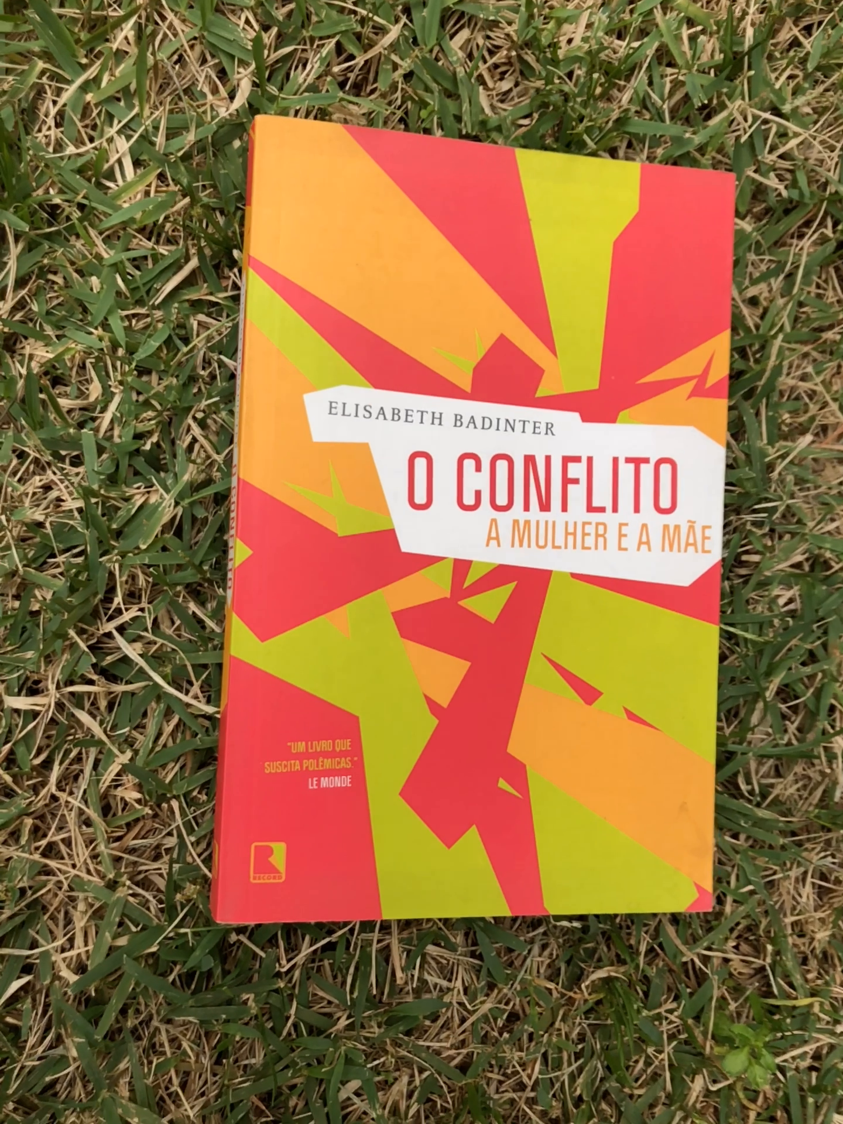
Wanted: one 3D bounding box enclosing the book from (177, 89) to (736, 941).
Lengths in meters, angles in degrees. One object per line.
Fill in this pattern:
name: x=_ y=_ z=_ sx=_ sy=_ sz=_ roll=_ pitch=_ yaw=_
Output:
book: x=0.011 y=-0.009 z=0.240 sx=0.130 sy=0.020 sz=0.200 roll=3 pitch=88 yaw=-9
